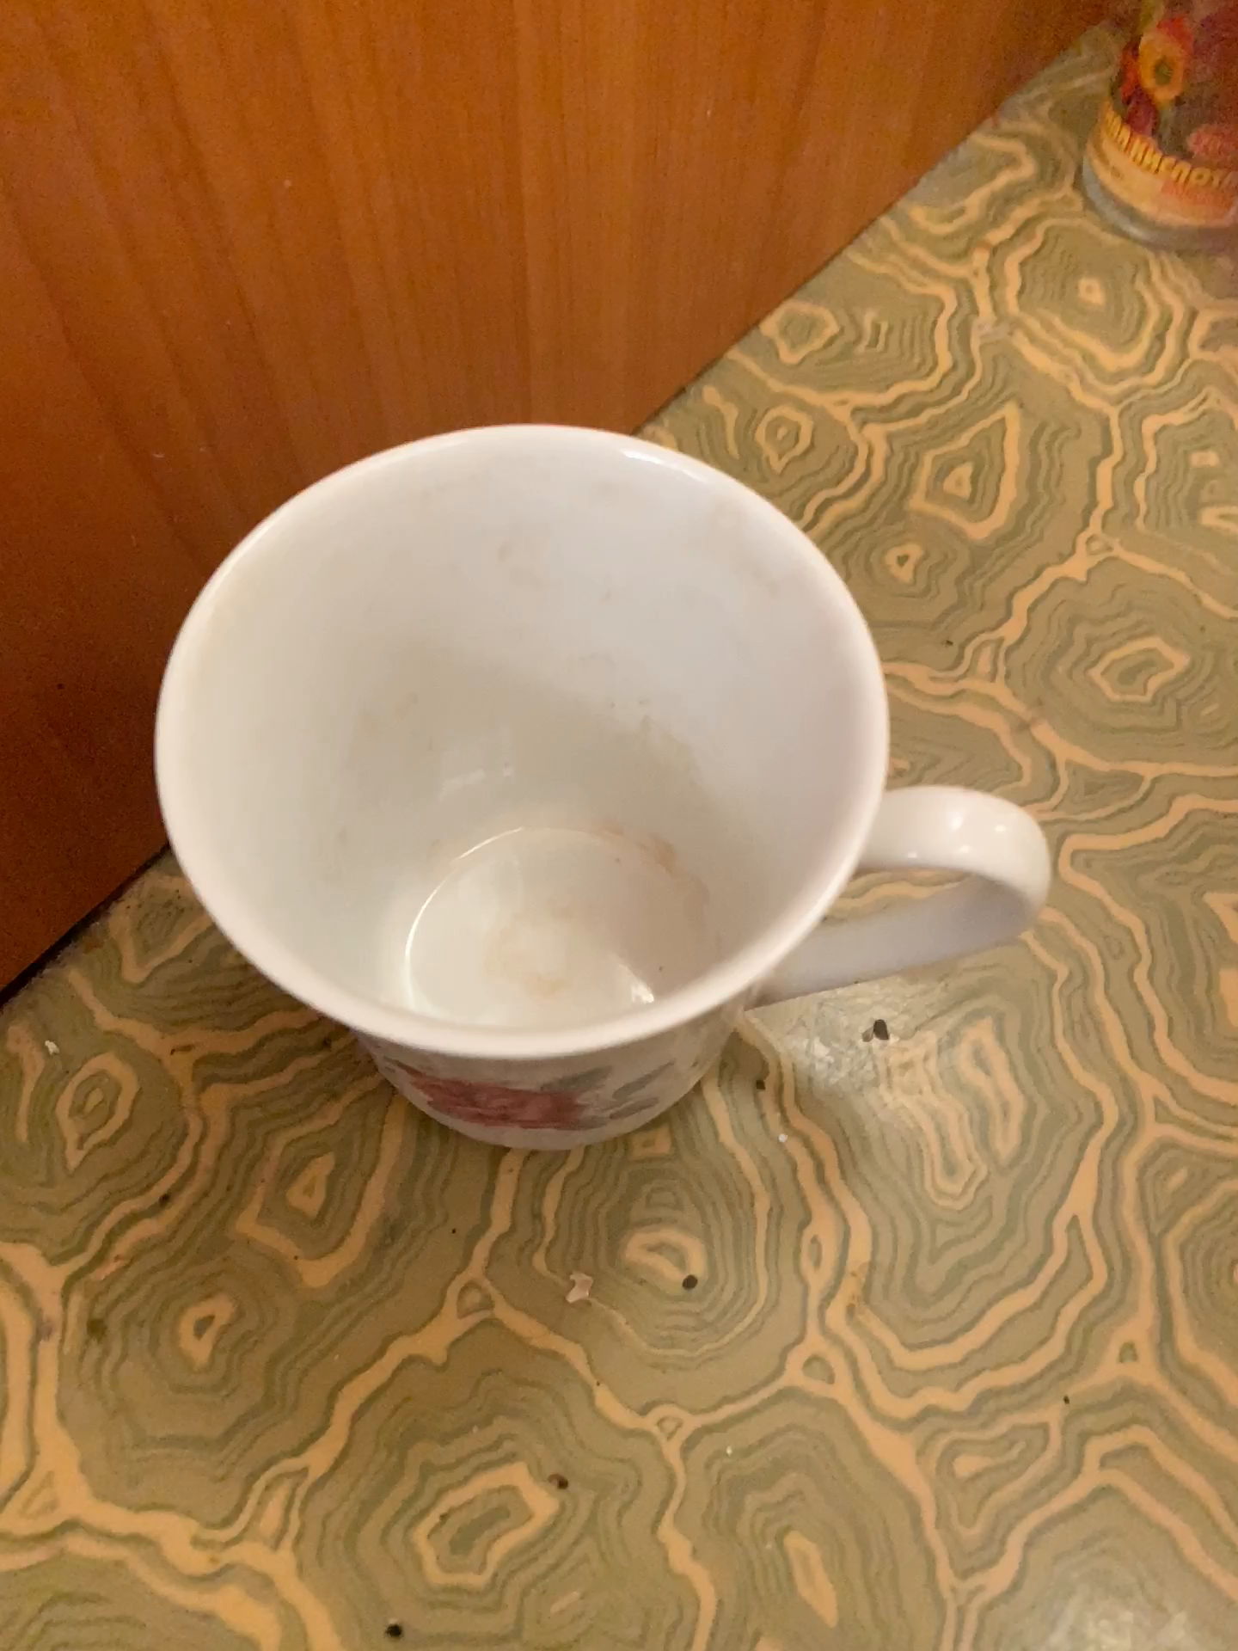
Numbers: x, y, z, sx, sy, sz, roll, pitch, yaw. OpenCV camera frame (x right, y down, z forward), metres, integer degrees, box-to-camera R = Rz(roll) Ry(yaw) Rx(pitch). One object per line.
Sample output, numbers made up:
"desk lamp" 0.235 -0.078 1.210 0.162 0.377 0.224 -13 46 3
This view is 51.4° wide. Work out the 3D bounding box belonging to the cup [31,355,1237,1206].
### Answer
"cup" 0.000 -0.001 0.184 0.118 0.087 0.087 -2 63 -2
